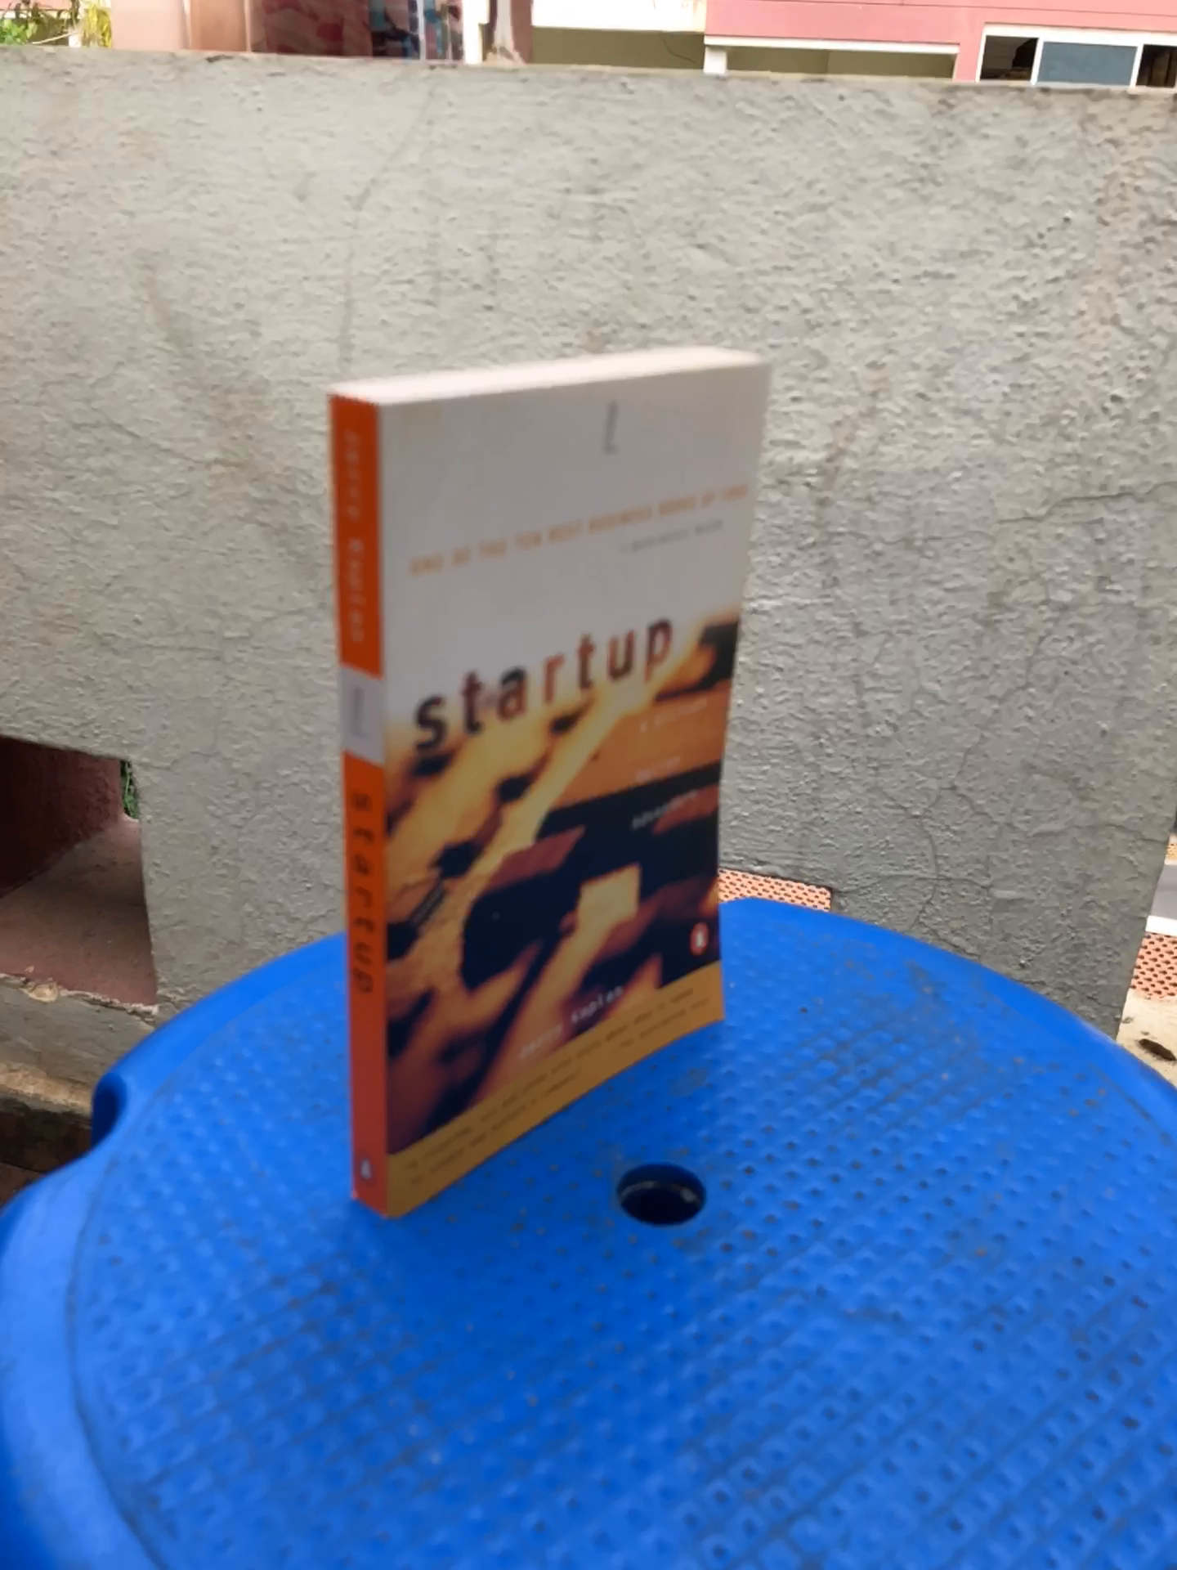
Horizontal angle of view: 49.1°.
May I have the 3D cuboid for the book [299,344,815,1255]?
[{"bbox_3d":[-0.004,-0.002,0.328,0.030,0.199,0.140,22,30,35],"label":"book"}]
